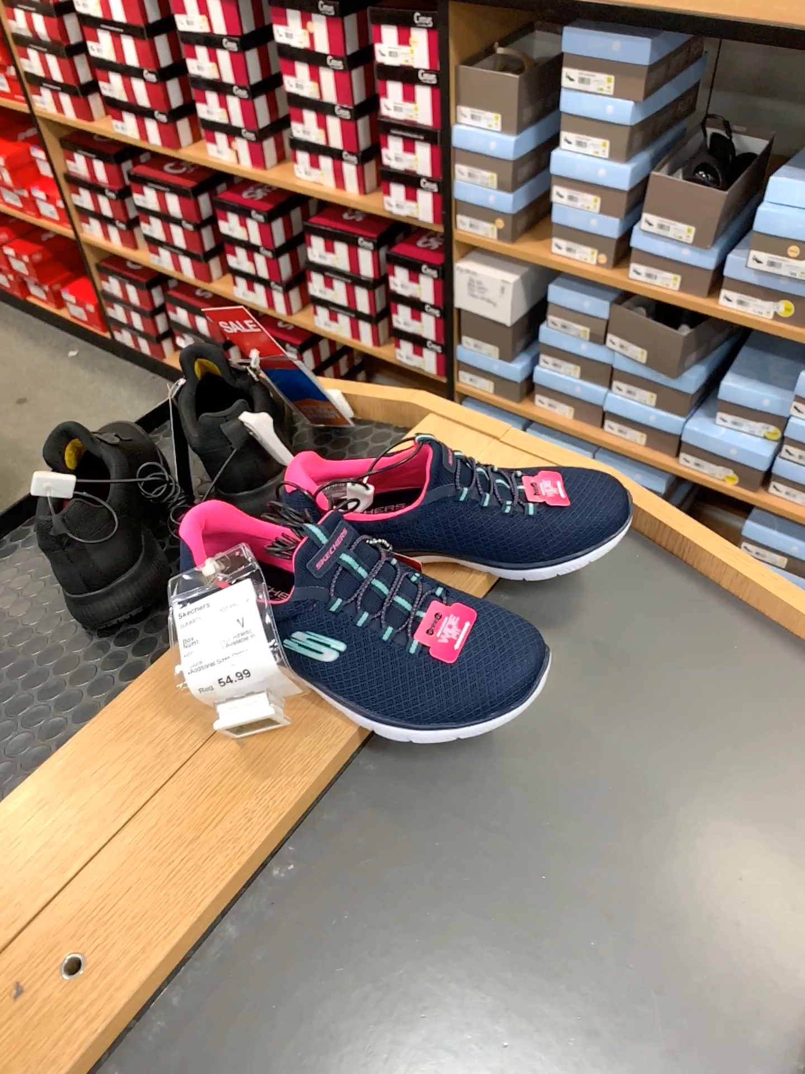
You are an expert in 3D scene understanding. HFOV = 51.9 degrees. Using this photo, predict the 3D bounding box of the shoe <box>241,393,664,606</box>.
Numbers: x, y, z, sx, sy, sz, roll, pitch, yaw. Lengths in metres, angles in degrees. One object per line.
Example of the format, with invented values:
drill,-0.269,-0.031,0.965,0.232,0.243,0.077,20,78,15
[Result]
shoe,0.031,-0.026,0.576,0.260,0.090,0.101,-3,46,2

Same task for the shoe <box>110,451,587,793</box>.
shoe,-0.029,0.045,0.508,0.250,0.099,0.110,14,49,17
